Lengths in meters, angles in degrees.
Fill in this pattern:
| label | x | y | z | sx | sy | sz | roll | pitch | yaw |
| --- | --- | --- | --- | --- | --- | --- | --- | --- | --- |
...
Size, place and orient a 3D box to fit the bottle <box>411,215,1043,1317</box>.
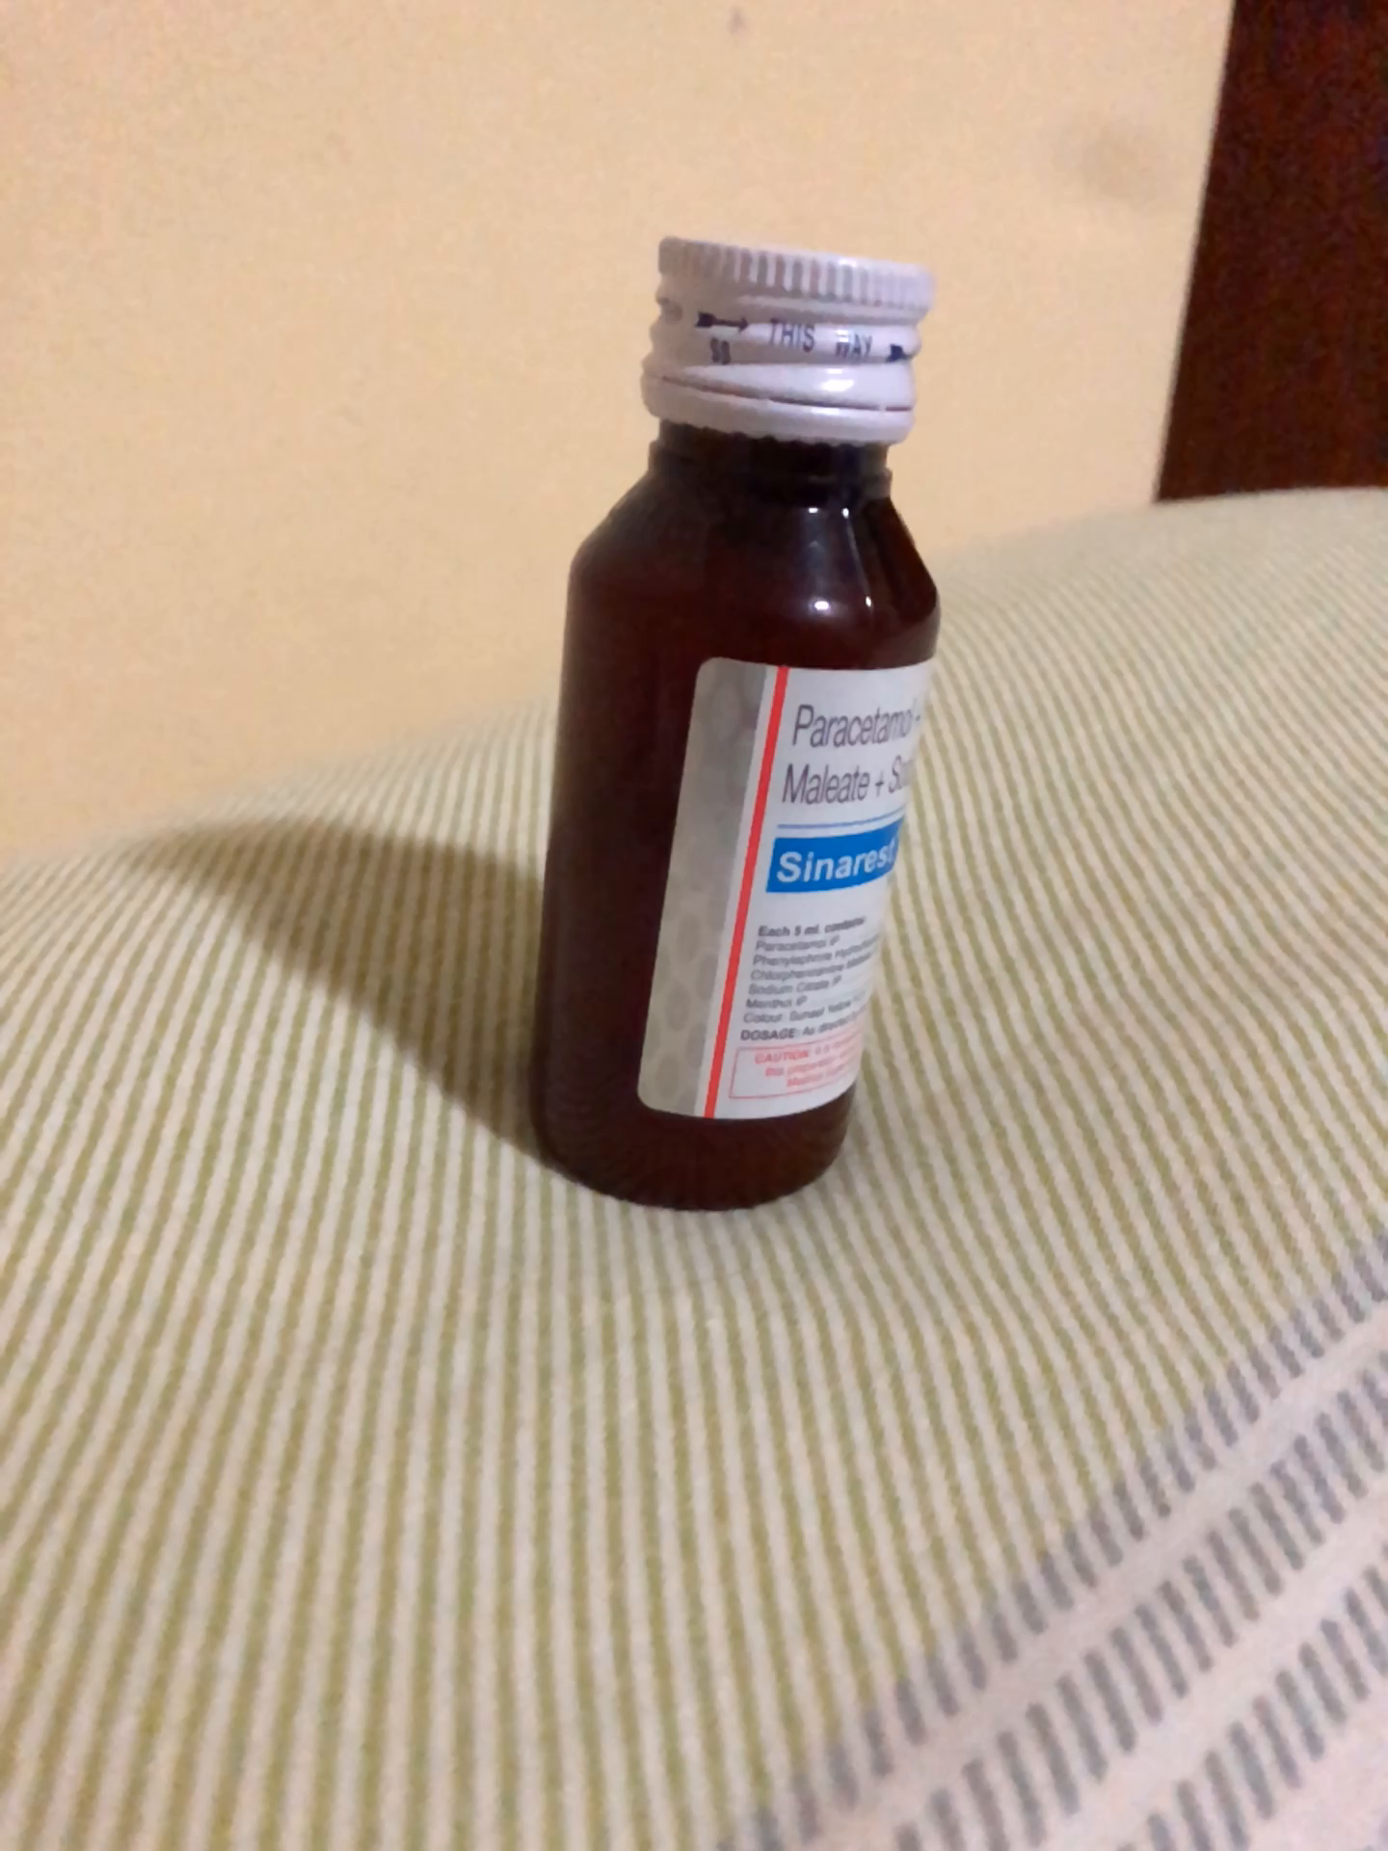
| label | x | y | z | sx | sy | sz | roll | pitch | yaw |
| --- | --- | --- | --- | --- | --- | --- | --- | --- | --- |
| bottle | -0.001 | -0.016 | 0.163 | 0.040 | 0.100 | 0.037 | 5 | 26 | -3 |
